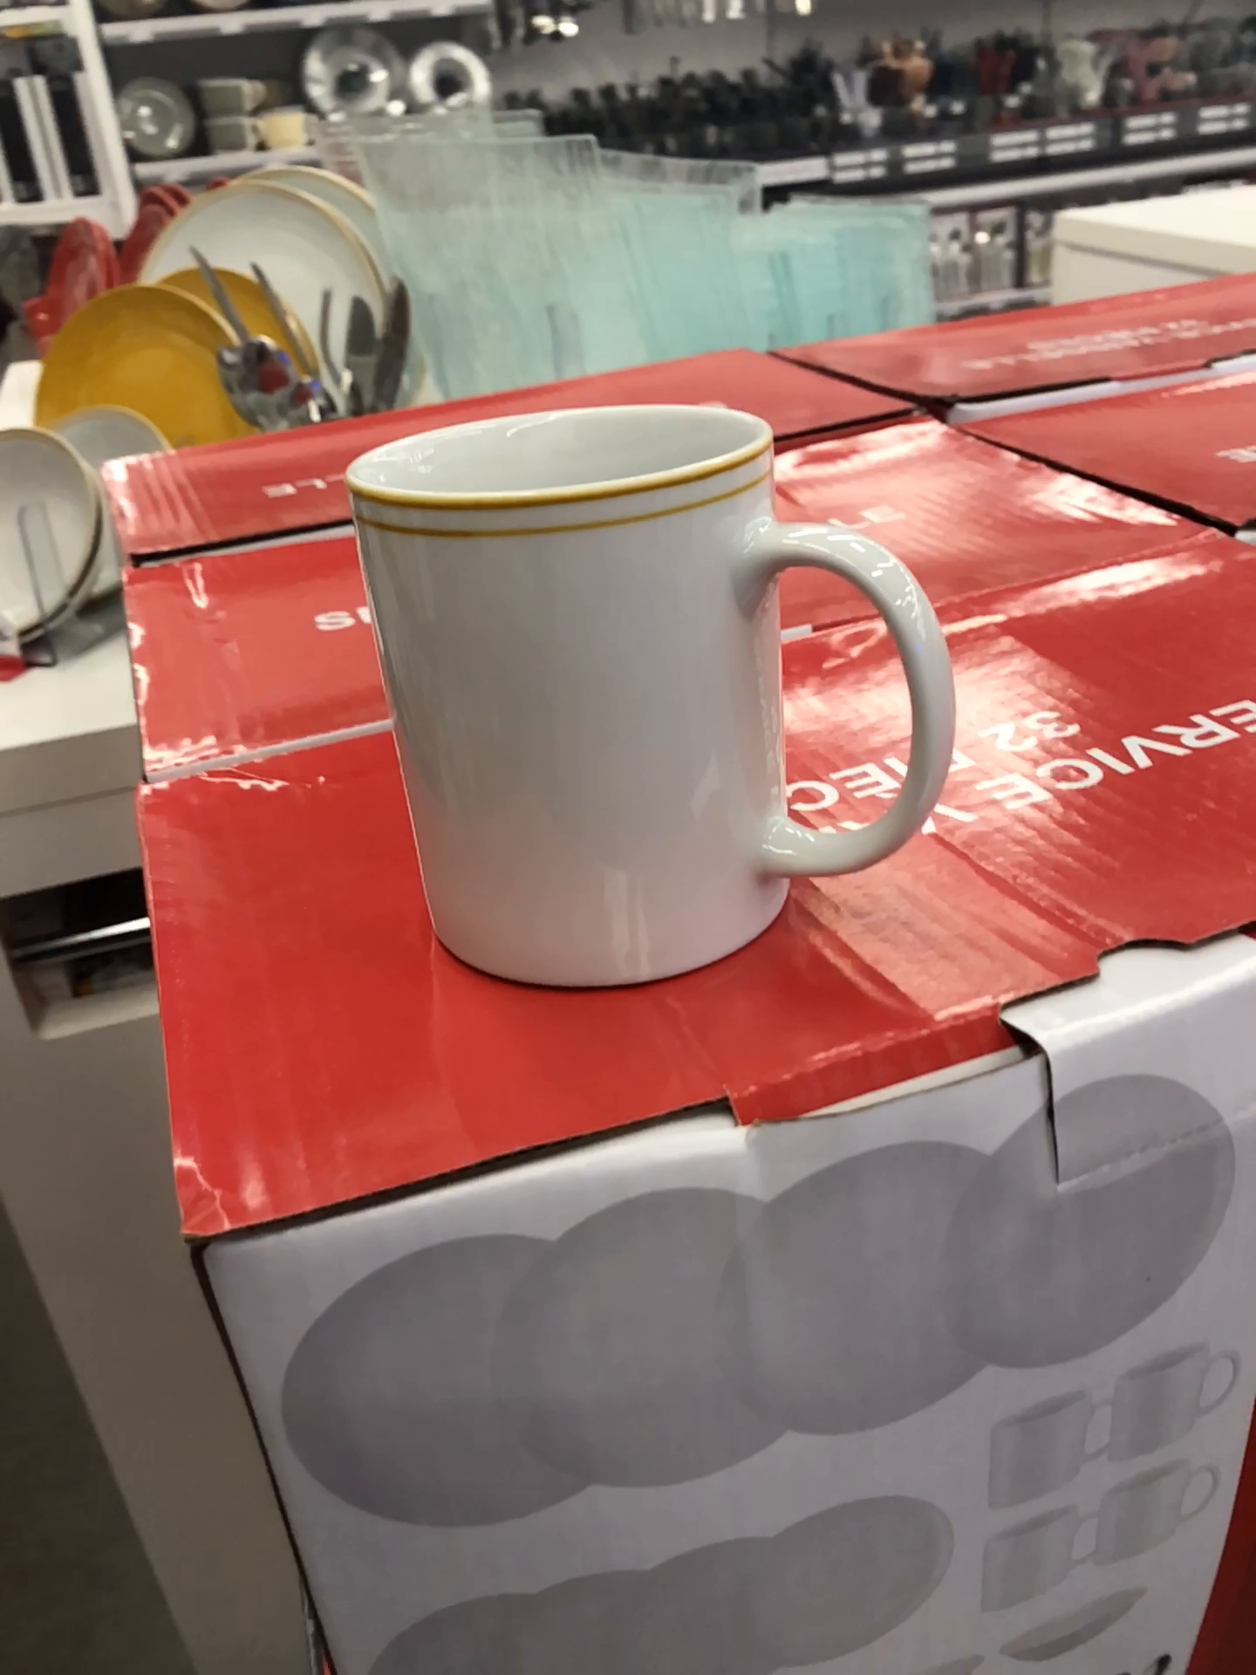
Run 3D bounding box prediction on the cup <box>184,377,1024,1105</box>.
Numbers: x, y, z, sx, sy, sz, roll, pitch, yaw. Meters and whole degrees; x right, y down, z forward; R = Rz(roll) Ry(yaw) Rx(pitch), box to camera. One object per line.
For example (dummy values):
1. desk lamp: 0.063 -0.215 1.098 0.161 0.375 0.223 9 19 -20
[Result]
1. cup: 0.002 -0.029 0.266 0.115 0.091 0.097 12 32 27
